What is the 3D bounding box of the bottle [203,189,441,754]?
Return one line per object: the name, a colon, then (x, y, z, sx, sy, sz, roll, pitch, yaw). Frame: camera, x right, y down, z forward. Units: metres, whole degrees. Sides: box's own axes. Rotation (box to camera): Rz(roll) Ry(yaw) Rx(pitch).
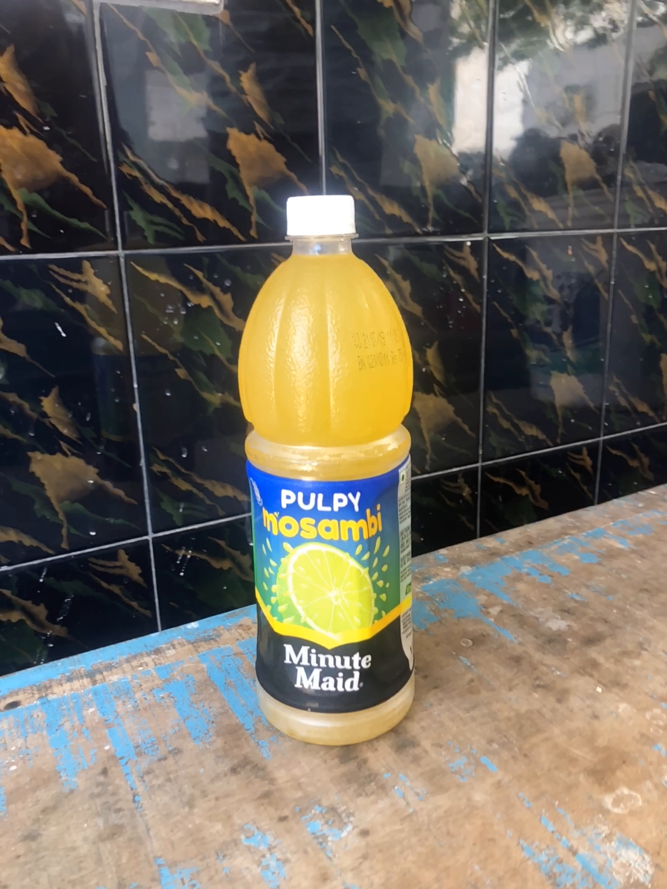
bottle: (0.003, 0.010, 0.361, 0.090, 0.249, 0.100, 0, 17, 6)
